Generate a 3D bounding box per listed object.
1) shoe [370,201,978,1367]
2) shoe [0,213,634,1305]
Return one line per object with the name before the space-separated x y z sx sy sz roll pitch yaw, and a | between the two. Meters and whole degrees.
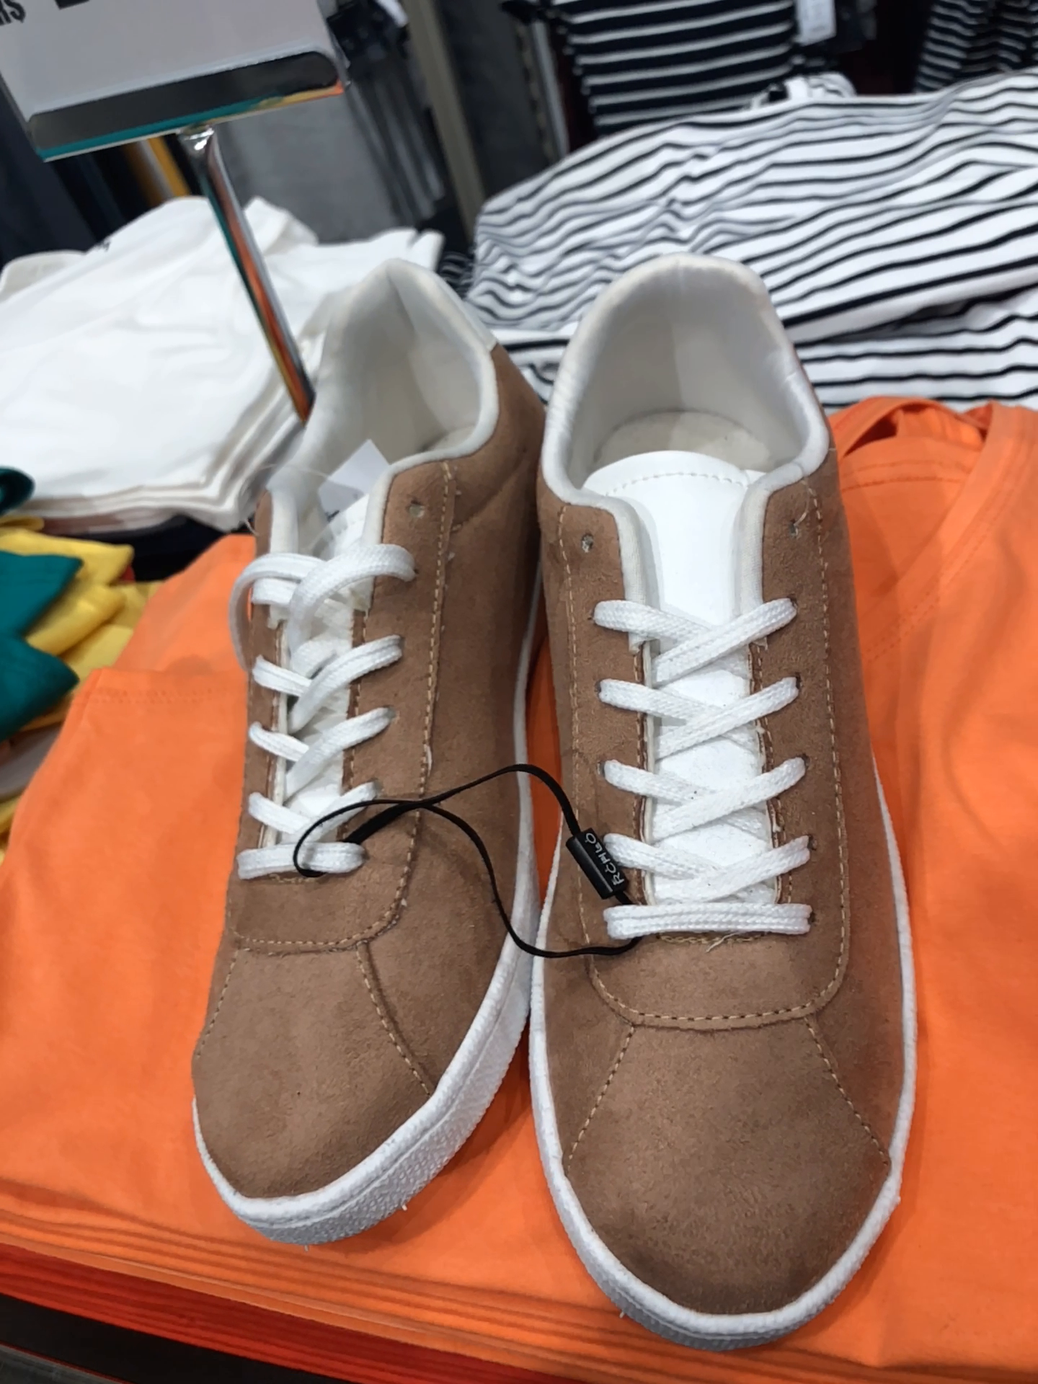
shoe | 0.042 0.011 0.279 0.090 0.099 0.251 -6 56 16
shoe | -0.034 0.006 0.298 0.090 0.099 0.251 -3 56 18
